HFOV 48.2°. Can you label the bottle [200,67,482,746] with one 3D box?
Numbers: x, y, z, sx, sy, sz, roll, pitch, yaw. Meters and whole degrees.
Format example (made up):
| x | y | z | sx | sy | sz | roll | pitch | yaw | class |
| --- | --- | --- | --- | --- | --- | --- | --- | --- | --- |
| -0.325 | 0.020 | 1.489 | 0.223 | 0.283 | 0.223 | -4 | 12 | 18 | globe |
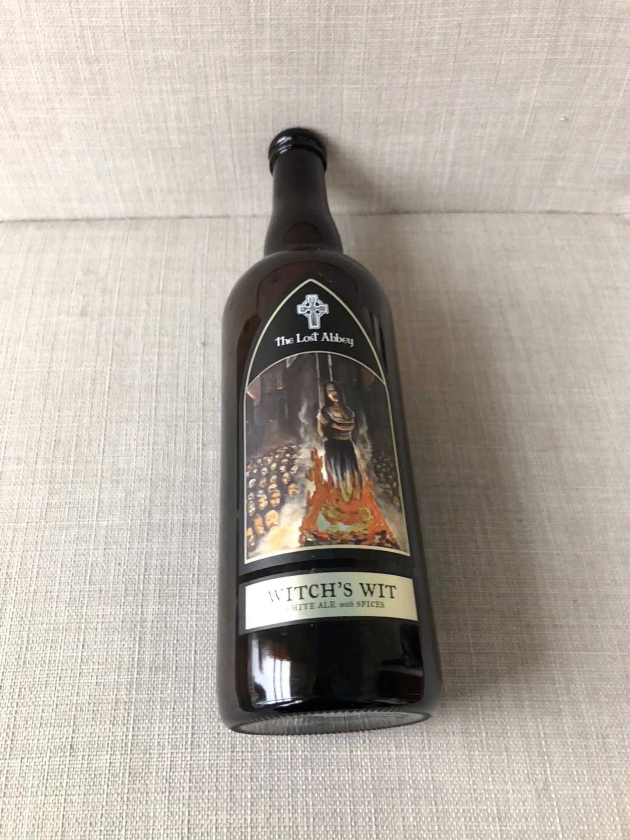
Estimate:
| x | y | z | sx | sy | sz | roll | pitch | yaw | class |
| --- | --- | --- | --- | --- | --- | --- | --- | --- | --- |
| -0.001 | -0.020 | 0.298 | 0.080 | 0.080 | 0.282 | -1 | 63 | -4 | bottle |
